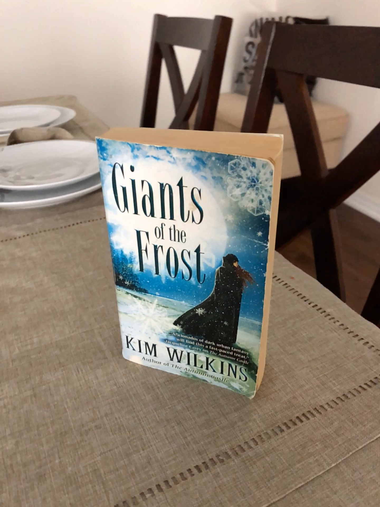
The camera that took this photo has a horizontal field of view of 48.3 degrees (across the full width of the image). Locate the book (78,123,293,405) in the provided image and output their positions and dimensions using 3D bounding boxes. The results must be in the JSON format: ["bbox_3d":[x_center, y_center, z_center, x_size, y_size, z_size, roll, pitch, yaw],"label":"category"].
[{"bbox_3d":[-0.001,0.009,0.276,0.111,0.168,0.043,9,31,18],"label":"book"}]
